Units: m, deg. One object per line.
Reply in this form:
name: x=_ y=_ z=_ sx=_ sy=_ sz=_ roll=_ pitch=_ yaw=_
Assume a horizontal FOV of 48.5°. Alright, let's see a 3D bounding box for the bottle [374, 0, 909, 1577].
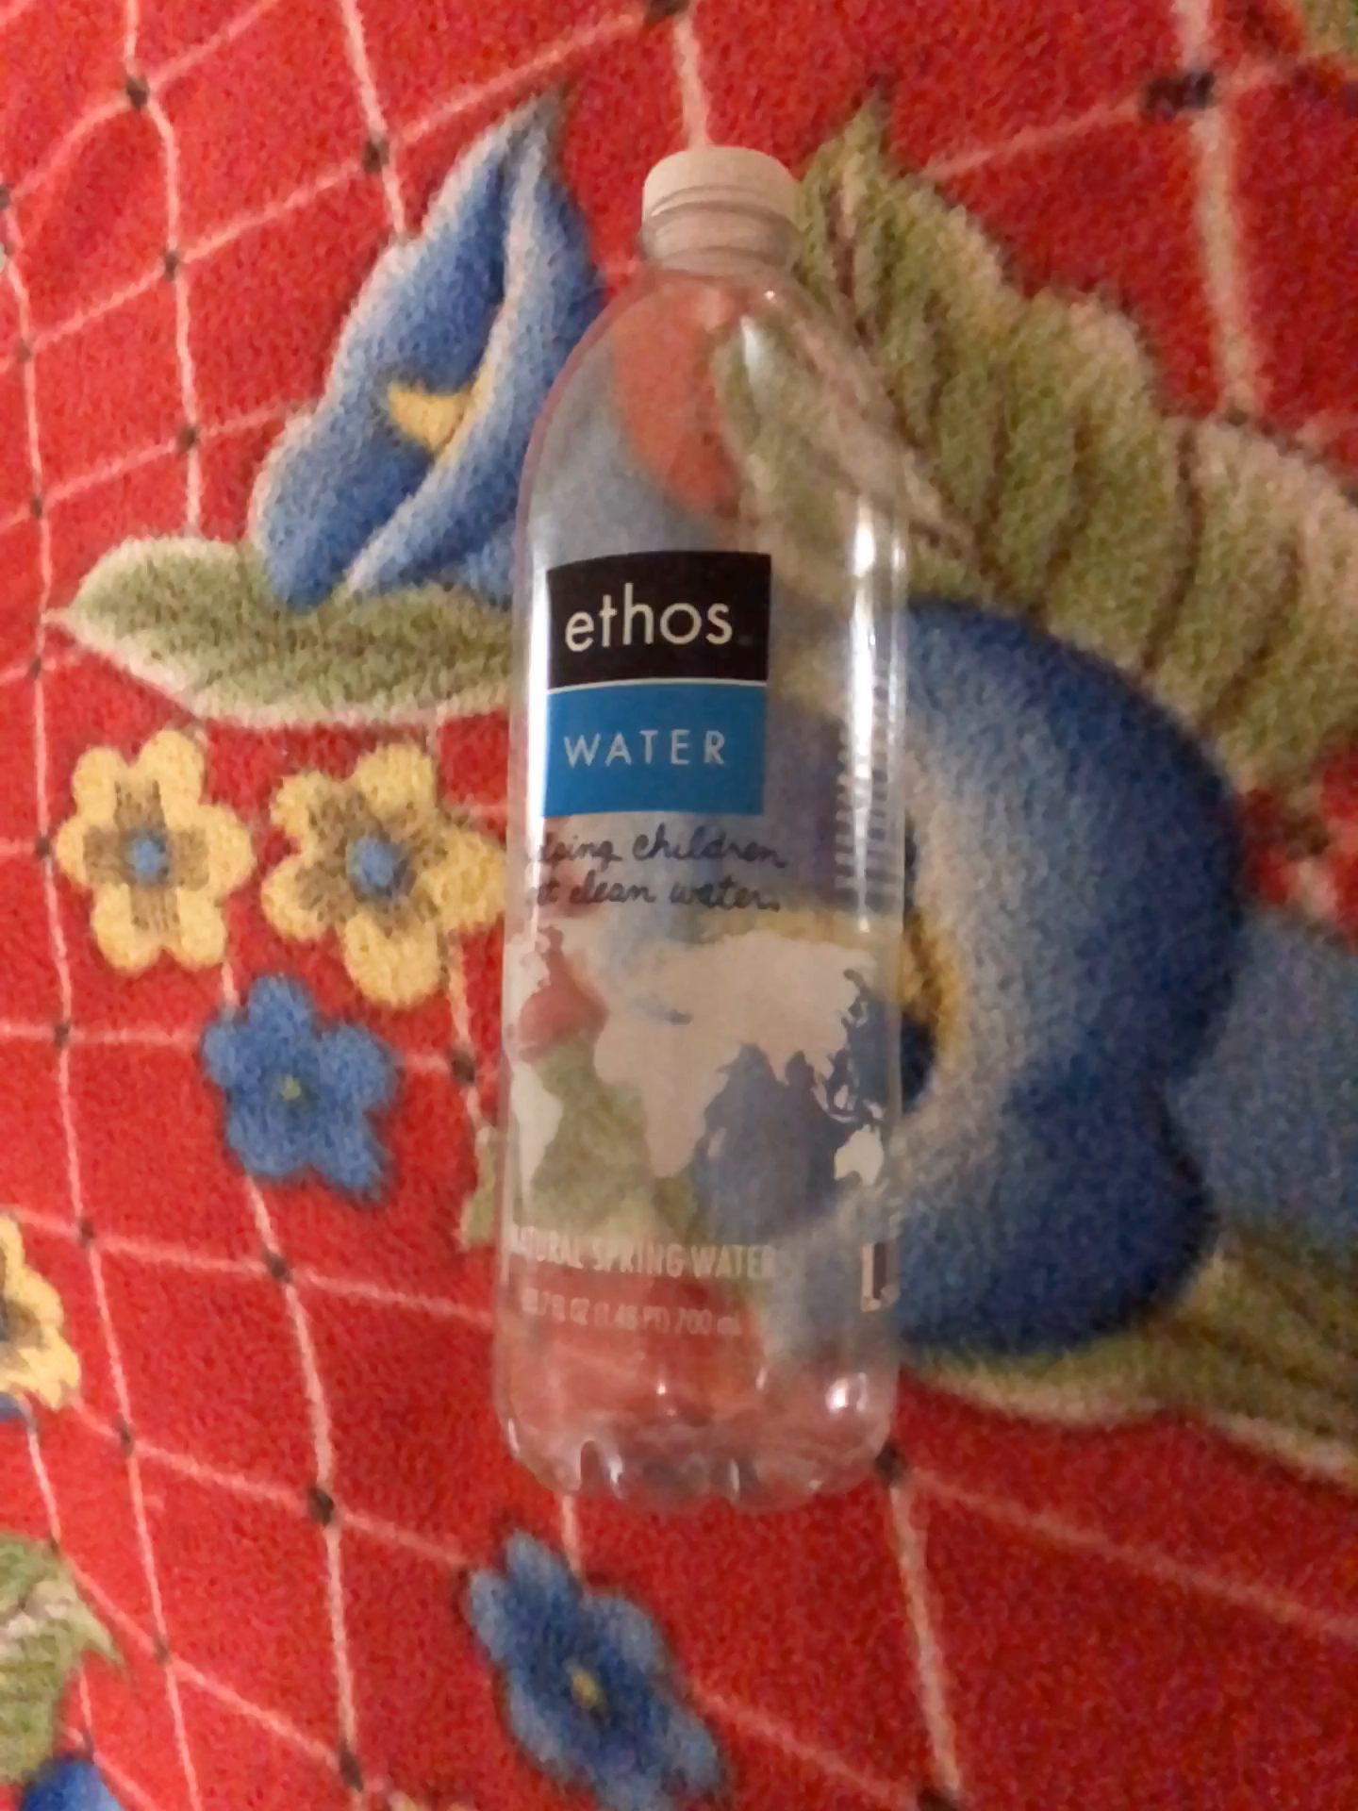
bottle: x=-0.003 y=-0.025 z=0.258 sx=0.070 sy=0.070 sz=0.240 roll=-1 pitch=89 yaw=19
